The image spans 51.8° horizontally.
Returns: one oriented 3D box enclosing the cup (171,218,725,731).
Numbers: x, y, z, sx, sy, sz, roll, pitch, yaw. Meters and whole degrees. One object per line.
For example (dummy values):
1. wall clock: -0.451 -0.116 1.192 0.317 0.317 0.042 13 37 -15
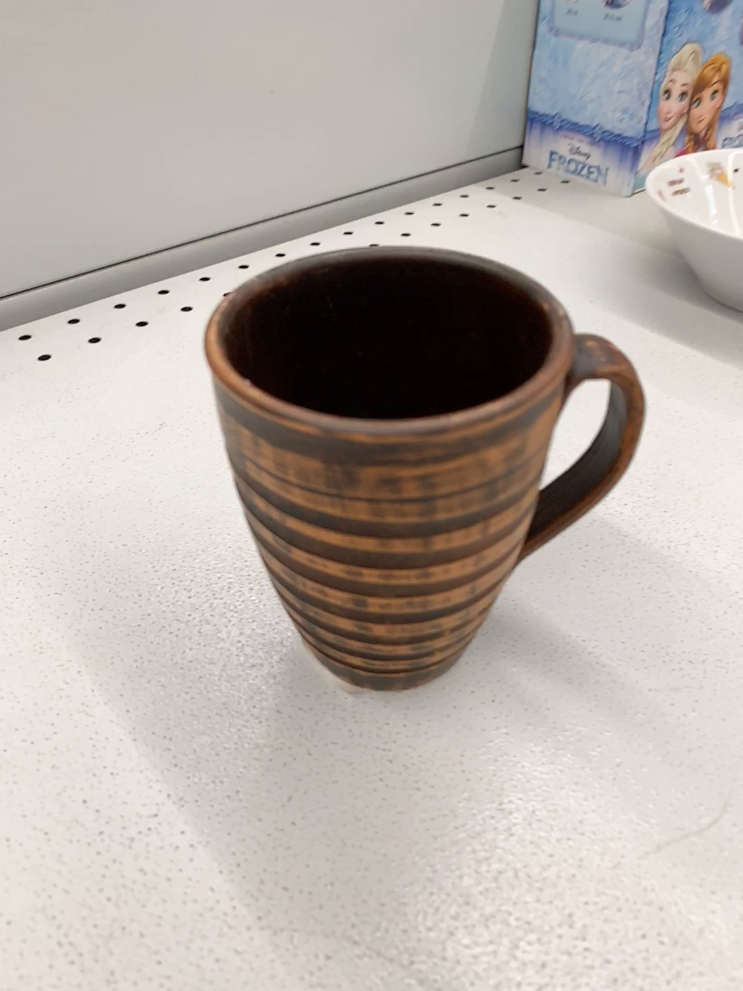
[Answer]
1. cup: 0.010 -0.009 0.204 0.105 0.089 0.084 -9 41 -10
